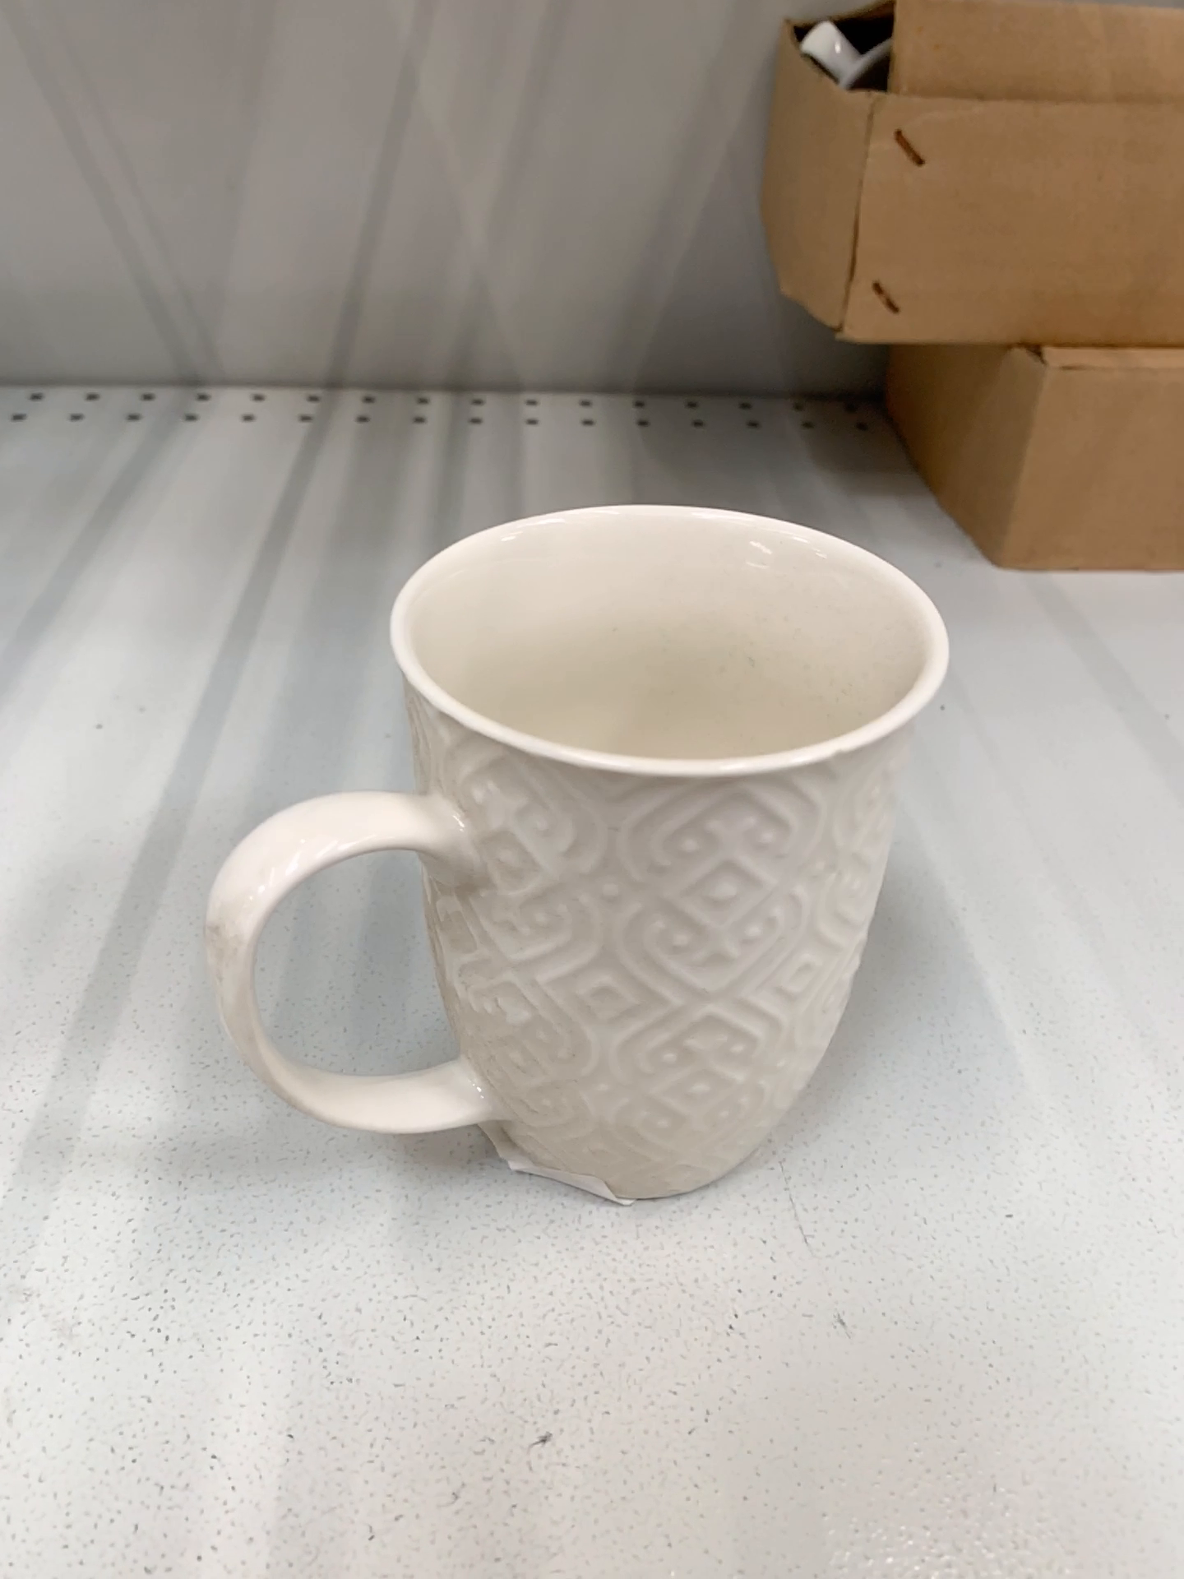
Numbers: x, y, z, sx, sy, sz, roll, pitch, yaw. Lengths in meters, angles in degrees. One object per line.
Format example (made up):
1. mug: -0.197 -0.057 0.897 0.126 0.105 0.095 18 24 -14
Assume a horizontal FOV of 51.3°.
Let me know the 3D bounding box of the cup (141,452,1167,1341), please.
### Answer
1. cup: 0.000 0.010 0.214 0.131 0.098 0.092 -8 37 -14
